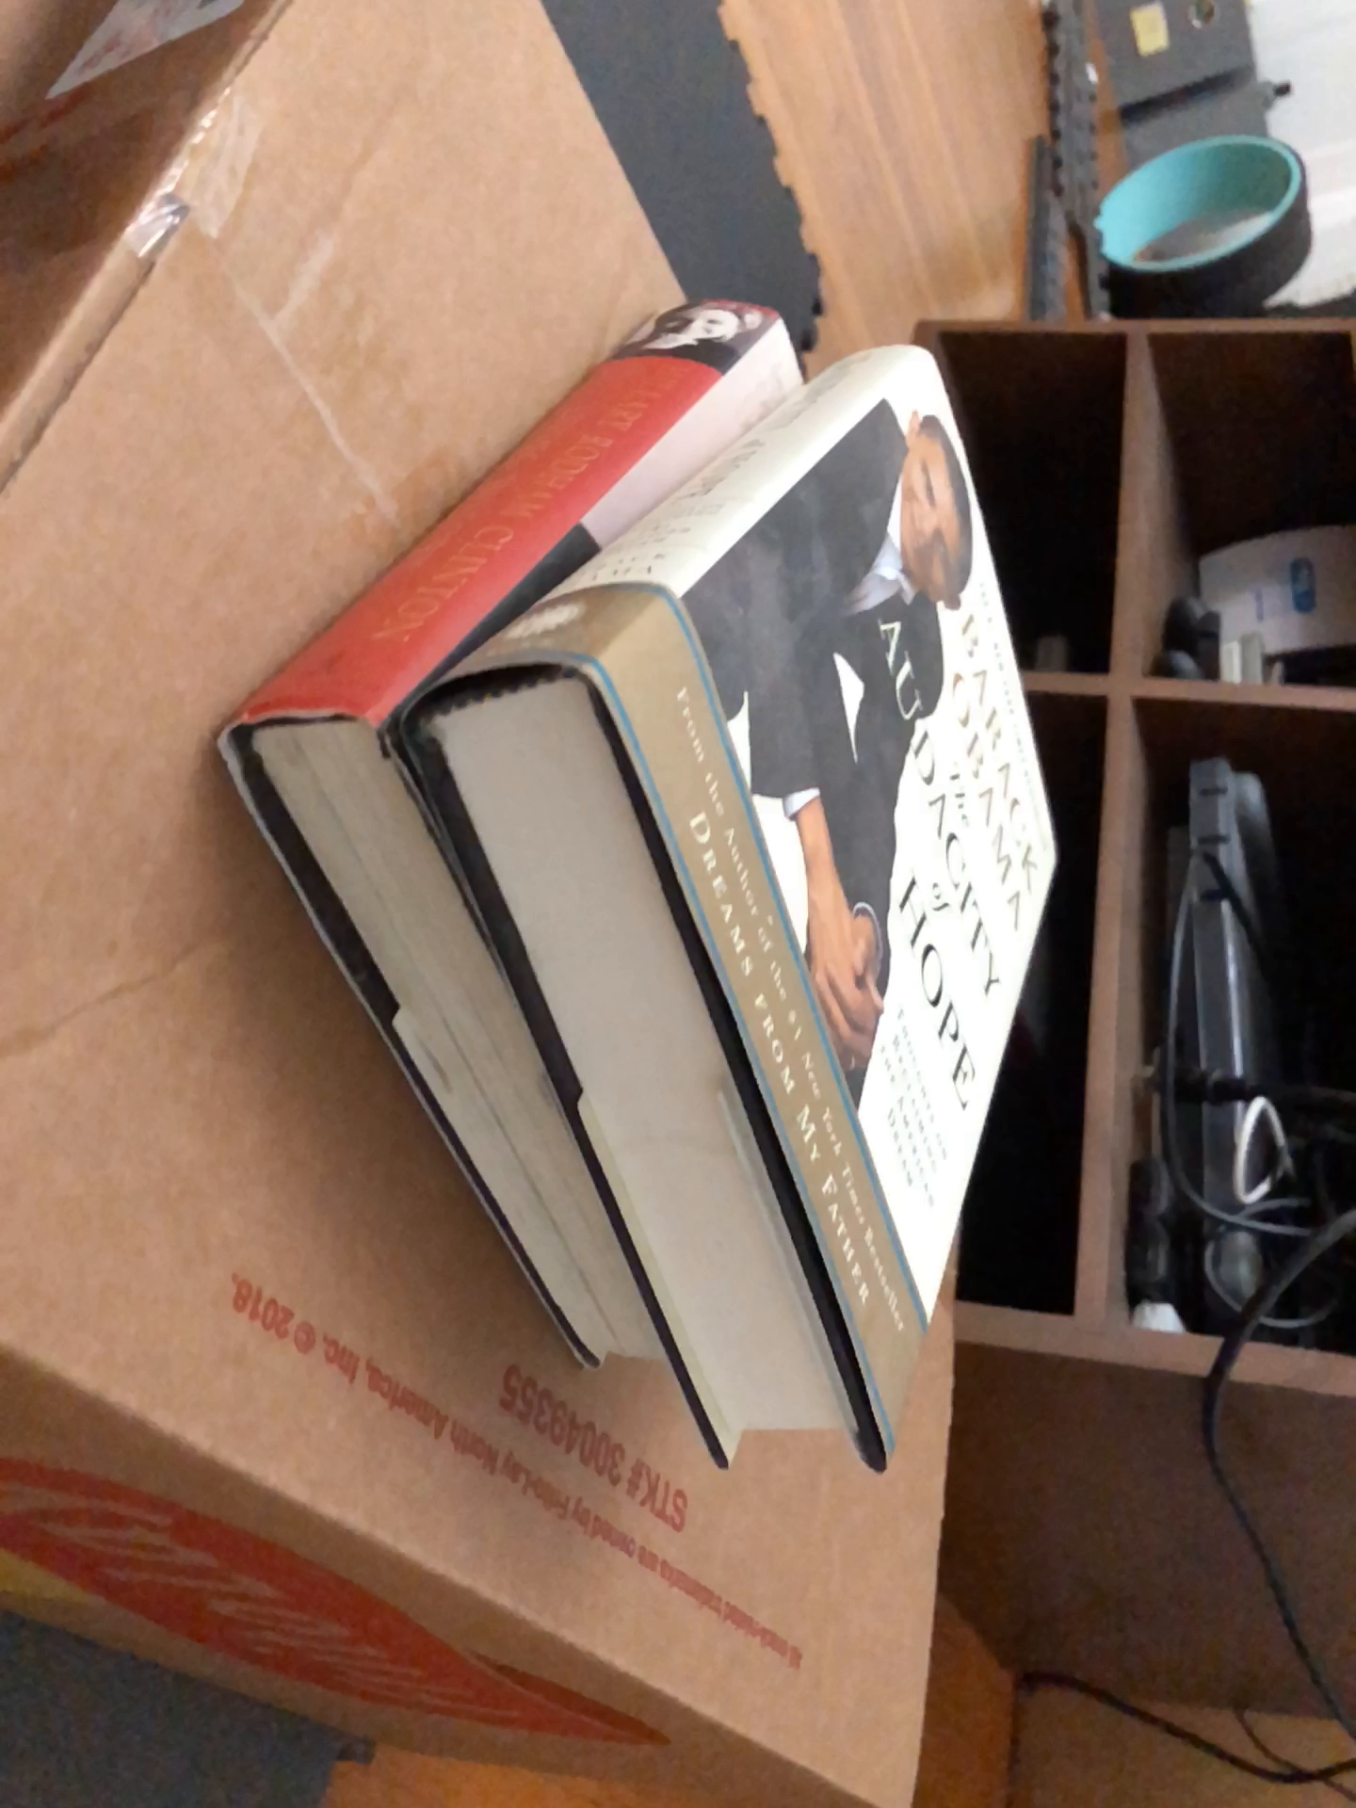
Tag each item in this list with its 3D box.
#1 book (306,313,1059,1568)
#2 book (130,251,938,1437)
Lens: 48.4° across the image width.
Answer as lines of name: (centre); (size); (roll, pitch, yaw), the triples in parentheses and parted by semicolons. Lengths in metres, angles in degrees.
book: (0.034, -0.016, 0.356); (0.251, 0.040, 0.190); (-55, 132, -54)
book: (0.000, -0.033, 0.361); (0.170, 0.040, 0.251); (67, 30, -29)
